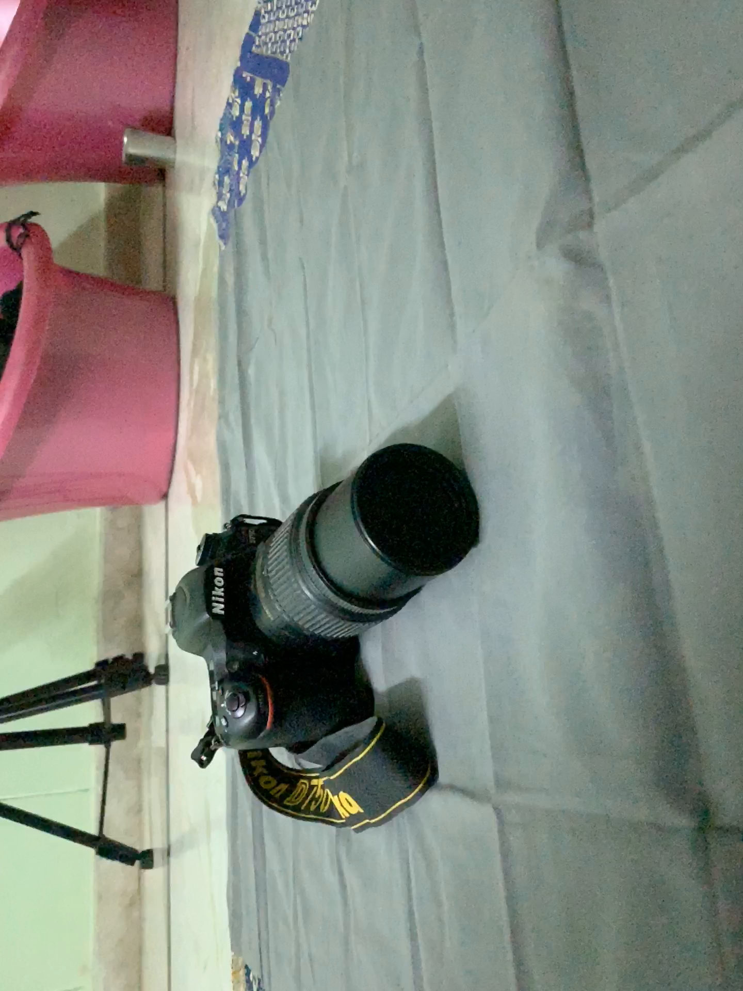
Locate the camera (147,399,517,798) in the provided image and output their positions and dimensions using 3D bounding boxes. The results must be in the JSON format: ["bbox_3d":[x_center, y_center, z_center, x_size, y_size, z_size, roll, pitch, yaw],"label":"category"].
[{"bbox_3d":[-0.053,0.078,0.425,0.289,0.109,0.147,139,129,-62],"label":"camera"}]
